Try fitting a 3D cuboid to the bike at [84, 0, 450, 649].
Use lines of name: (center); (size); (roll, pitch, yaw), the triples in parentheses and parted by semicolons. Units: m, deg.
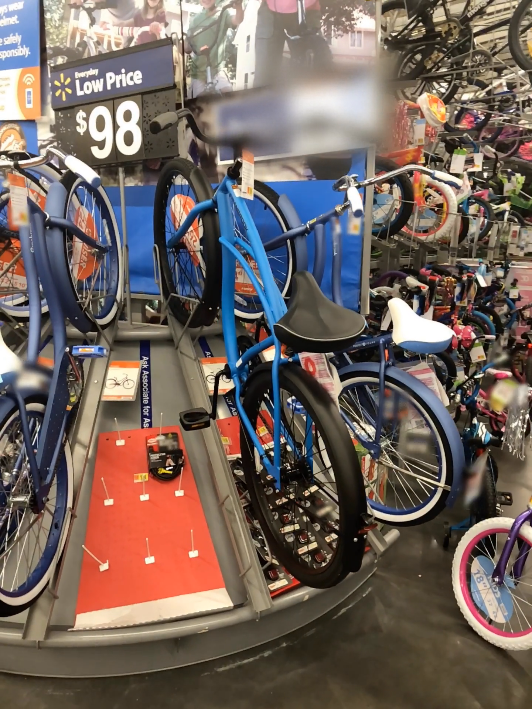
bike: (-0.098, -0.554, 1.812); (0.505, 1.121, 1.565); (-6, 39, -31)
